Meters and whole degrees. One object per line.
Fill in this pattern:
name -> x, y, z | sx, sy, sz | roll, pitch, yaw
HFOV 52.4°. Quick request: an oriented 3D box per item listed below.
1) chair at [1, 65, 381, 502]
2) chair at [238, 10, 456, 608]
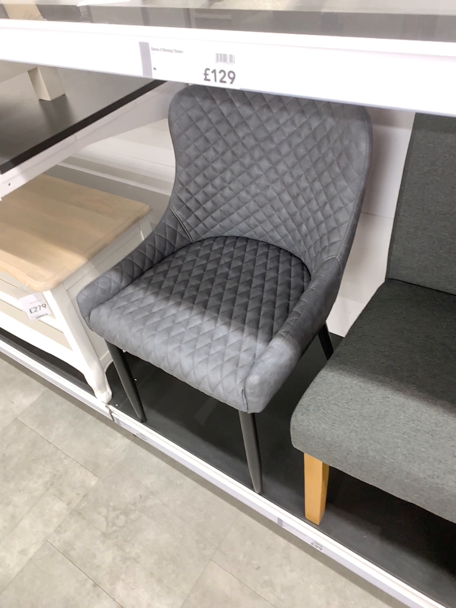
chair -> -0.009, -0.050, 1.126 | 0.482, 0.792, 0.543 | 21, 51, 28
chair -> 0.394, 0.058, 0.860 | 0.432, 0.911, 0.563 | 21, 50, 28
